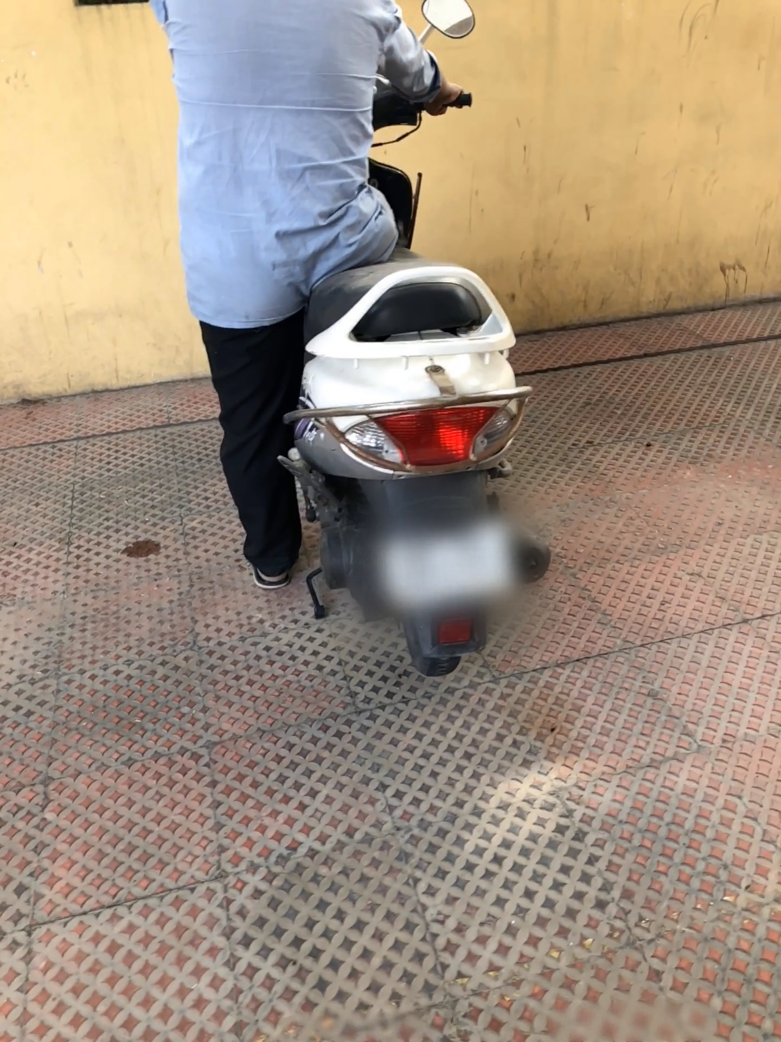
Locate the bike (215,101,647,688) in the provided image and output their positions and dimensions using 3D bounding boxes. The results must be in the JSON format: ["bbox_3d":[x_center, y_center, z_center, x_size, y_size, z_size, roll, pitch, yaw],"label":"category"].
[{"bbox_3d":[-0.055,-0.479,2.069,0.599,0.816,1.618,-7,31,-7],"label":"bike"}]
